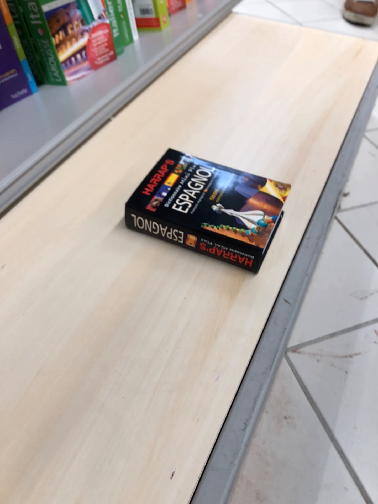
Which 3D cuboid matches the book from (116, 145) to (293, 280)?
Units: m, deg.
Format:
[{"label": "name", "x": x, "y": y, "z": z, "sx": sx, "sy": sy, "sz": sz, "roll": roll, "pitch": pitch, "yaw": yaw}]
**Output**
[{"label": "book", "x": 0.017, "y": -0.046, "z": 0.428, "sx": 0.145, "sy": 0.038, "sz": 0.104, "roll": 20, "pitch": 50, "yaw": 14}]
